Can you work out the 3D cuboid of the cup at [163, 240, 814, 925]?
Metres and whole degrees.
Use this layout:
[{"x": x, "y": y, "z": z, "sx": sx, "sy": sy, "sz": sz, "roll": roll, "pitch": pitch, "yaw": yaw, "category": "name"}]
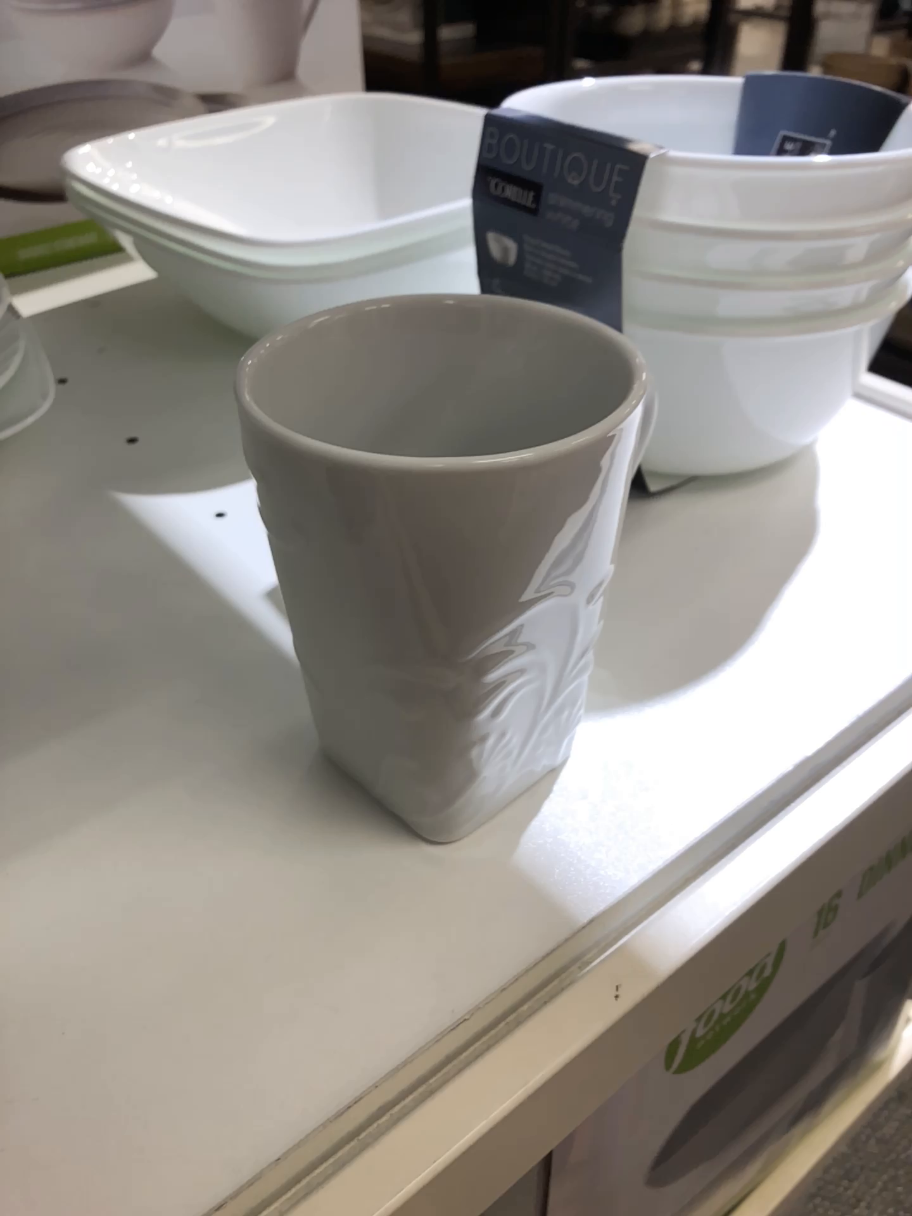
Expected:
[{"x": 0.008, "y": -0.014, "z": 0.260, "sx": 0.115, "sy": 0.113, "sz": 0.086, "roll": -27, "pitch": 45, "yaw": -31, "category": "cup"}]
